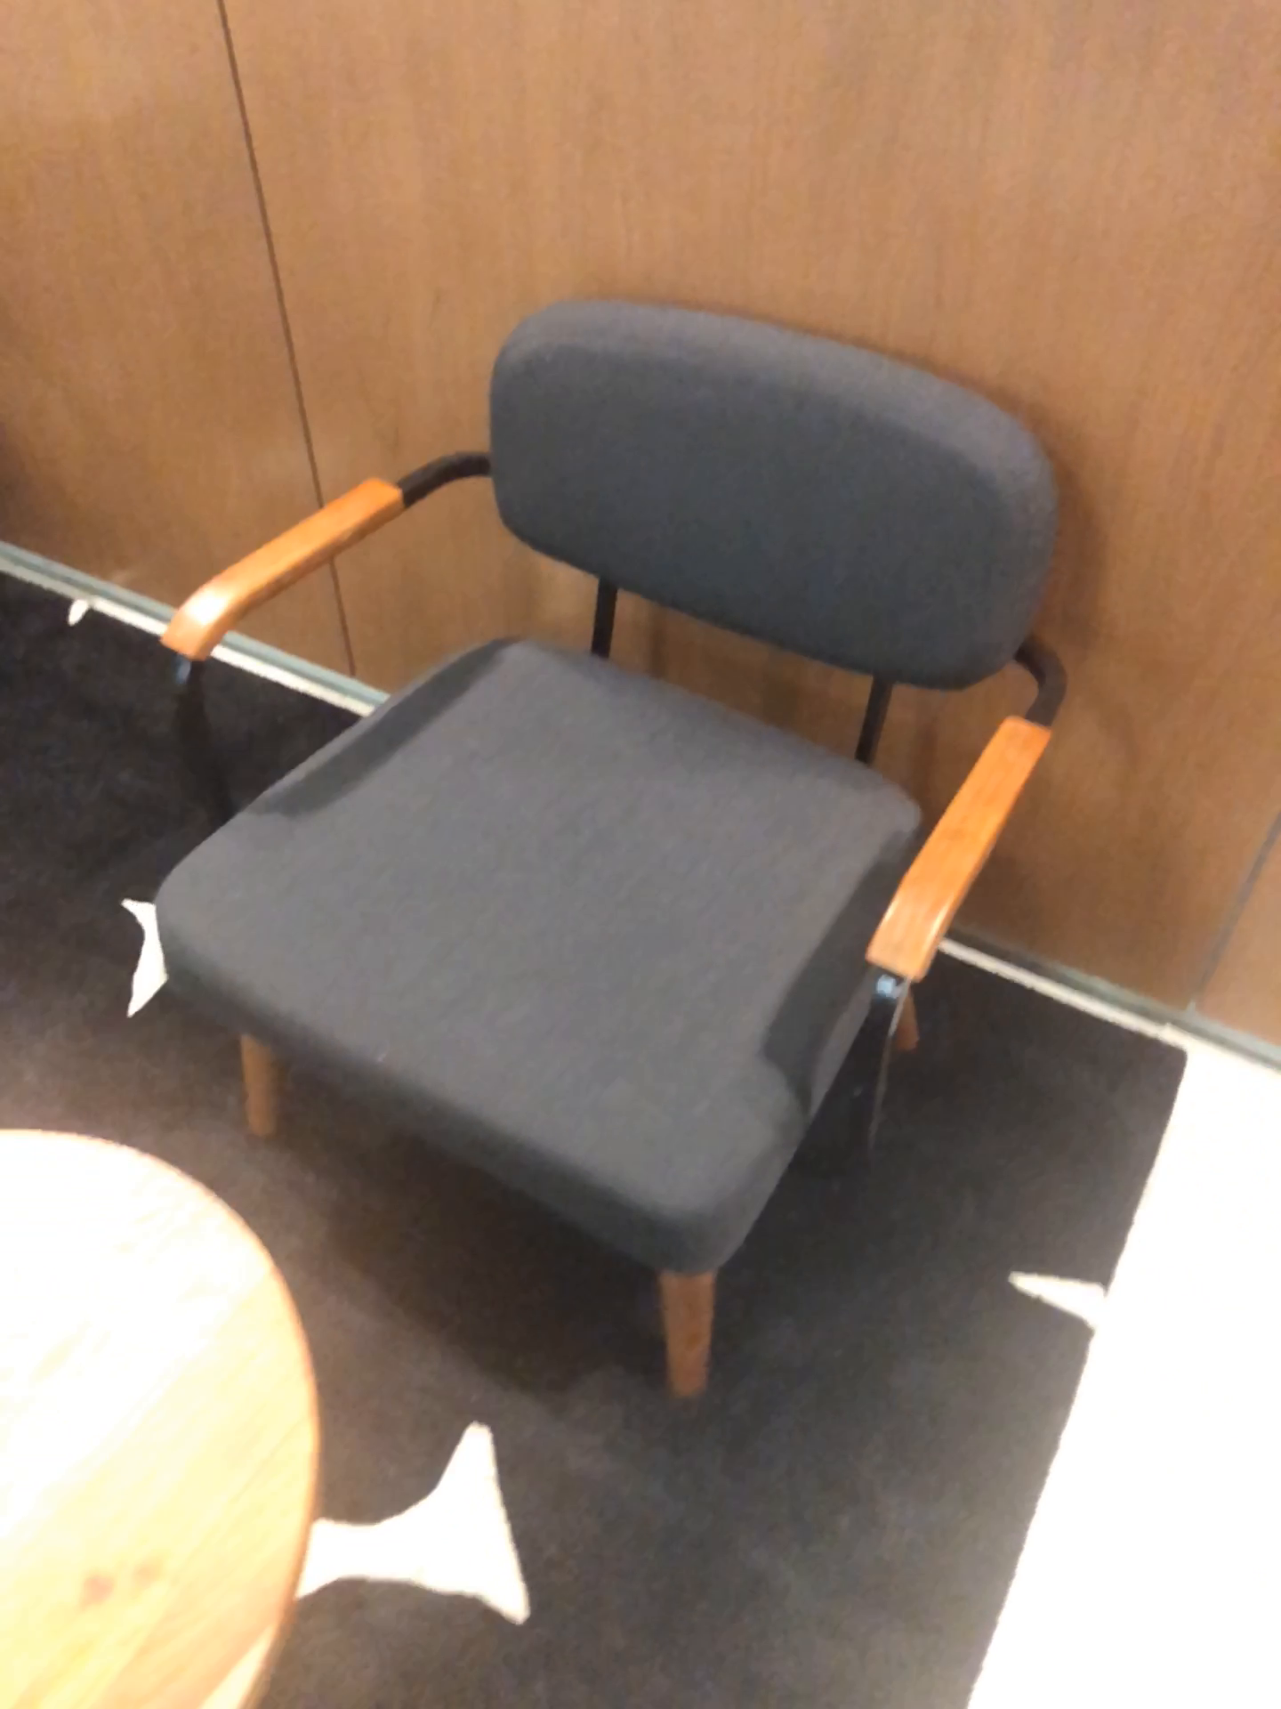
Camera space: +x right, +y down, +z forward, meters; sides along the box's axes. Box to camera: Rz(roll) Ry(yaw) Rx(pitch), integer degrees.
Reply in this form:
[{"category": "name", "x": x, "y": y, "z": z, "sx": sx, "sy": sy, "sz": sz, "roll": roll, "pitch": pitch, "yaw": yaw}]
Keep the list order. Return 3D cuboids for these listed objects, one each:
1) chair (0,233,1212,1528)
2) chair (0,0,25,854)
[{"category": "chair", "x": -0.021, "y": -0.016, "z": 1.280, "sx": 0.680, "sy": 0.714, "sz": 0.685, "roll": 24, "pitch": 48, "yaw": 21}, {"category": "chair", "x": -1.311, "y": -0.564, "z": 1.674, "sx": 0.730, "sy": 0.714, "sz": 0.574, "roll": 24, "pitch": 48, "yaw": 21}]
